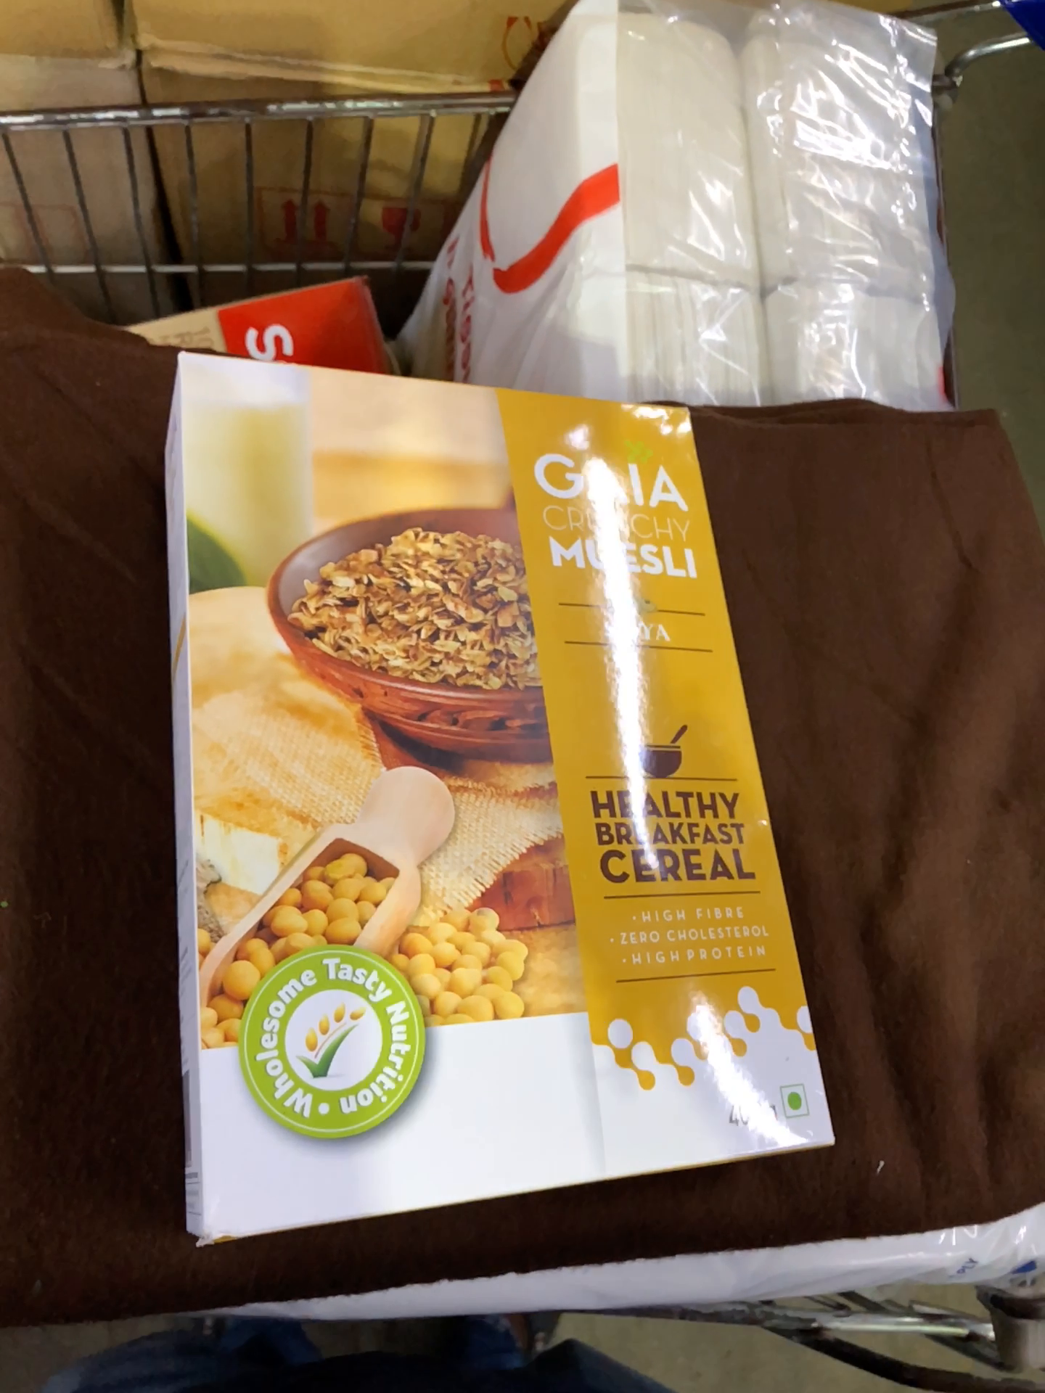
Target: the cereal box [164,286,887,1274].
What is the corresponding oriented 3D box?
[{"bbox_3d":[-0.009,0.014,0.331,0.170,0.060,0.240,1,71,-22],"label":"cereal box"}]
